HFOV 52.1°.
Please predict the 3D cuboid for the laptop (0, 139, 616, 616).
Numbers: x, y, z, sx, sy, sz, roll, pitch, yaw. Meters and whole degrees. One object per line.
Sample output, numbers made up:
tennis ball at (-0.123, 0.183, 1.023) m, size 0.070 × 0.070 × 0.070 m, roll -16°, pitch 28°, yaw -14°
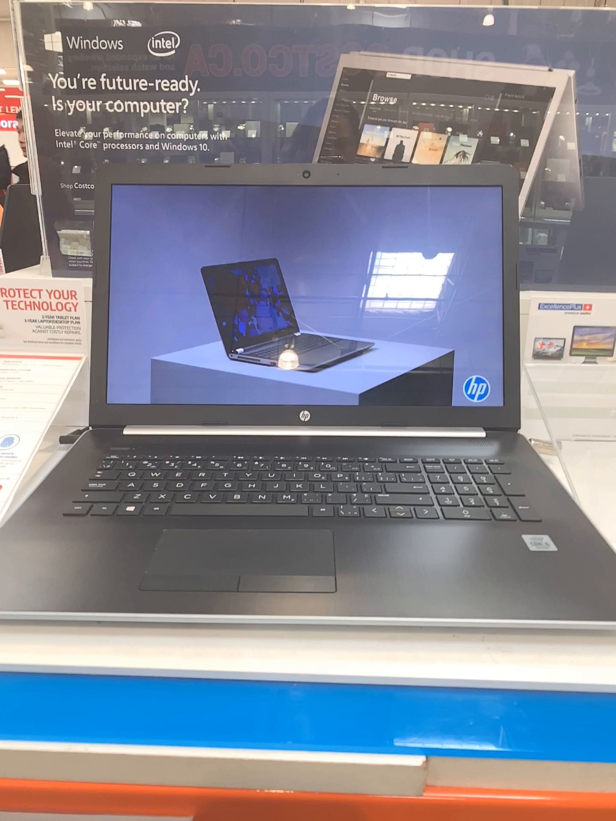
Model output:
laptop at (0.001, -0.063, 0.477) m, size 0.394 × 0.234 × 0.371 m, roll 1°, pitch 19°, yaw 0°
